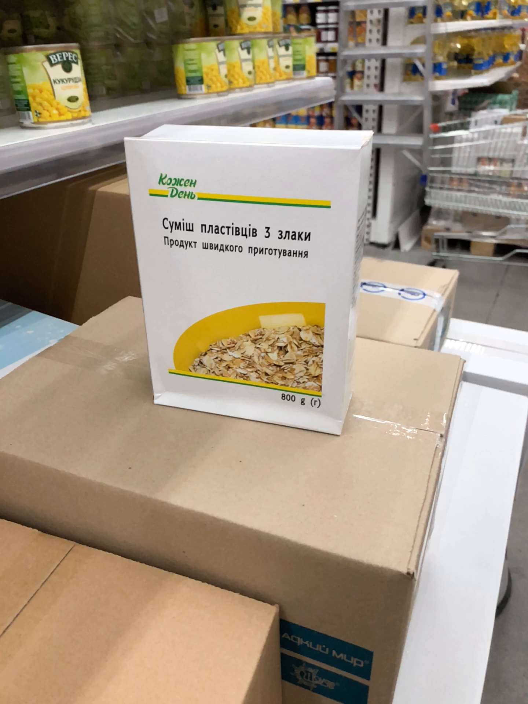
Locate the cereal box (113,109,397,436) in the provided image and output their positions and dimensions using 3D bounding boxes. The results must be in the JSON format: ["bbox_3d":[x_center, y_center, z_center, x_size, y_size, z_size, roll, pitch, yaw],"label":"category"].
[{"bbox_3d":[-0.003,-0.058,0.424,0.170,0.209,0.070,8,29,14],"label":"cereal box"}]
